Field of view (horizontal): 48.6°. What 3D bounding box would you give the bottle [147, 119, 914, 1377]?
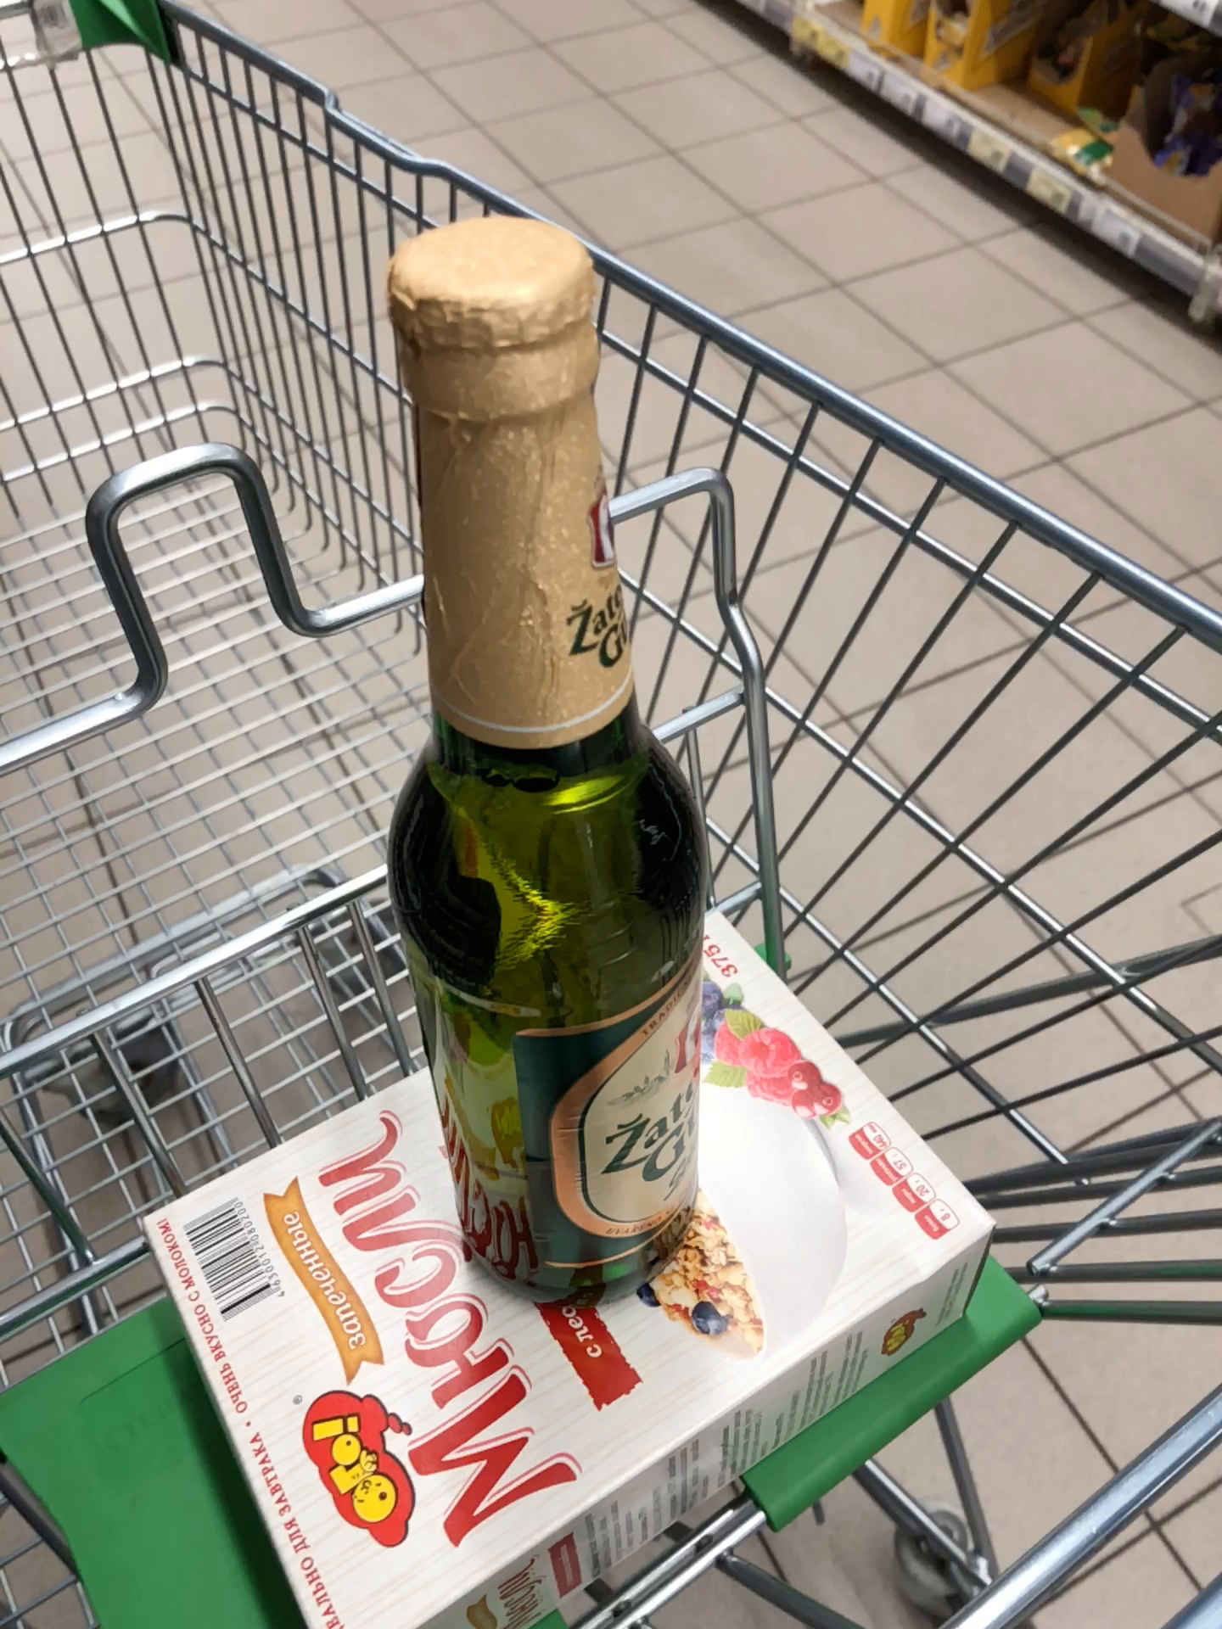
[{"bbox_3d":[-0.007,0.018,0.279,0.070,0.269,0.080,22,53,17],"label":"bottle"}]
